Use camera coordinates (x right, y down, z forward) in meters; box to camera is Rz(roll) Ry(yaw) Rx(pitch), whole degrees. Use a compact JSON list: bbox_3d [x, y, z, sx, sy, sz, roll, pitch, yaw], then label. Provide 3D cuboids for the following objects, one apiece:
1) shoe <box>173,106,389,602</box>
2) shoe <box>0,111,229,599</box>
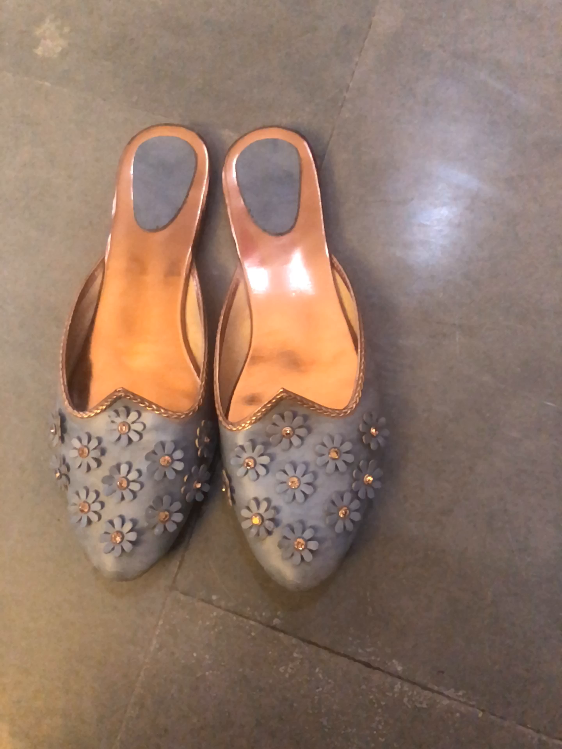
[{"bbox_3d":[-0.003,-0.015,0.368,0.100,0.050,0.270,-5,80,4],"label":"shoe"},{"bbox_3d":[-0.090,-0.016,0.368,0.100,0.050,0.270,1,80,5],"label":"shoe"}]
